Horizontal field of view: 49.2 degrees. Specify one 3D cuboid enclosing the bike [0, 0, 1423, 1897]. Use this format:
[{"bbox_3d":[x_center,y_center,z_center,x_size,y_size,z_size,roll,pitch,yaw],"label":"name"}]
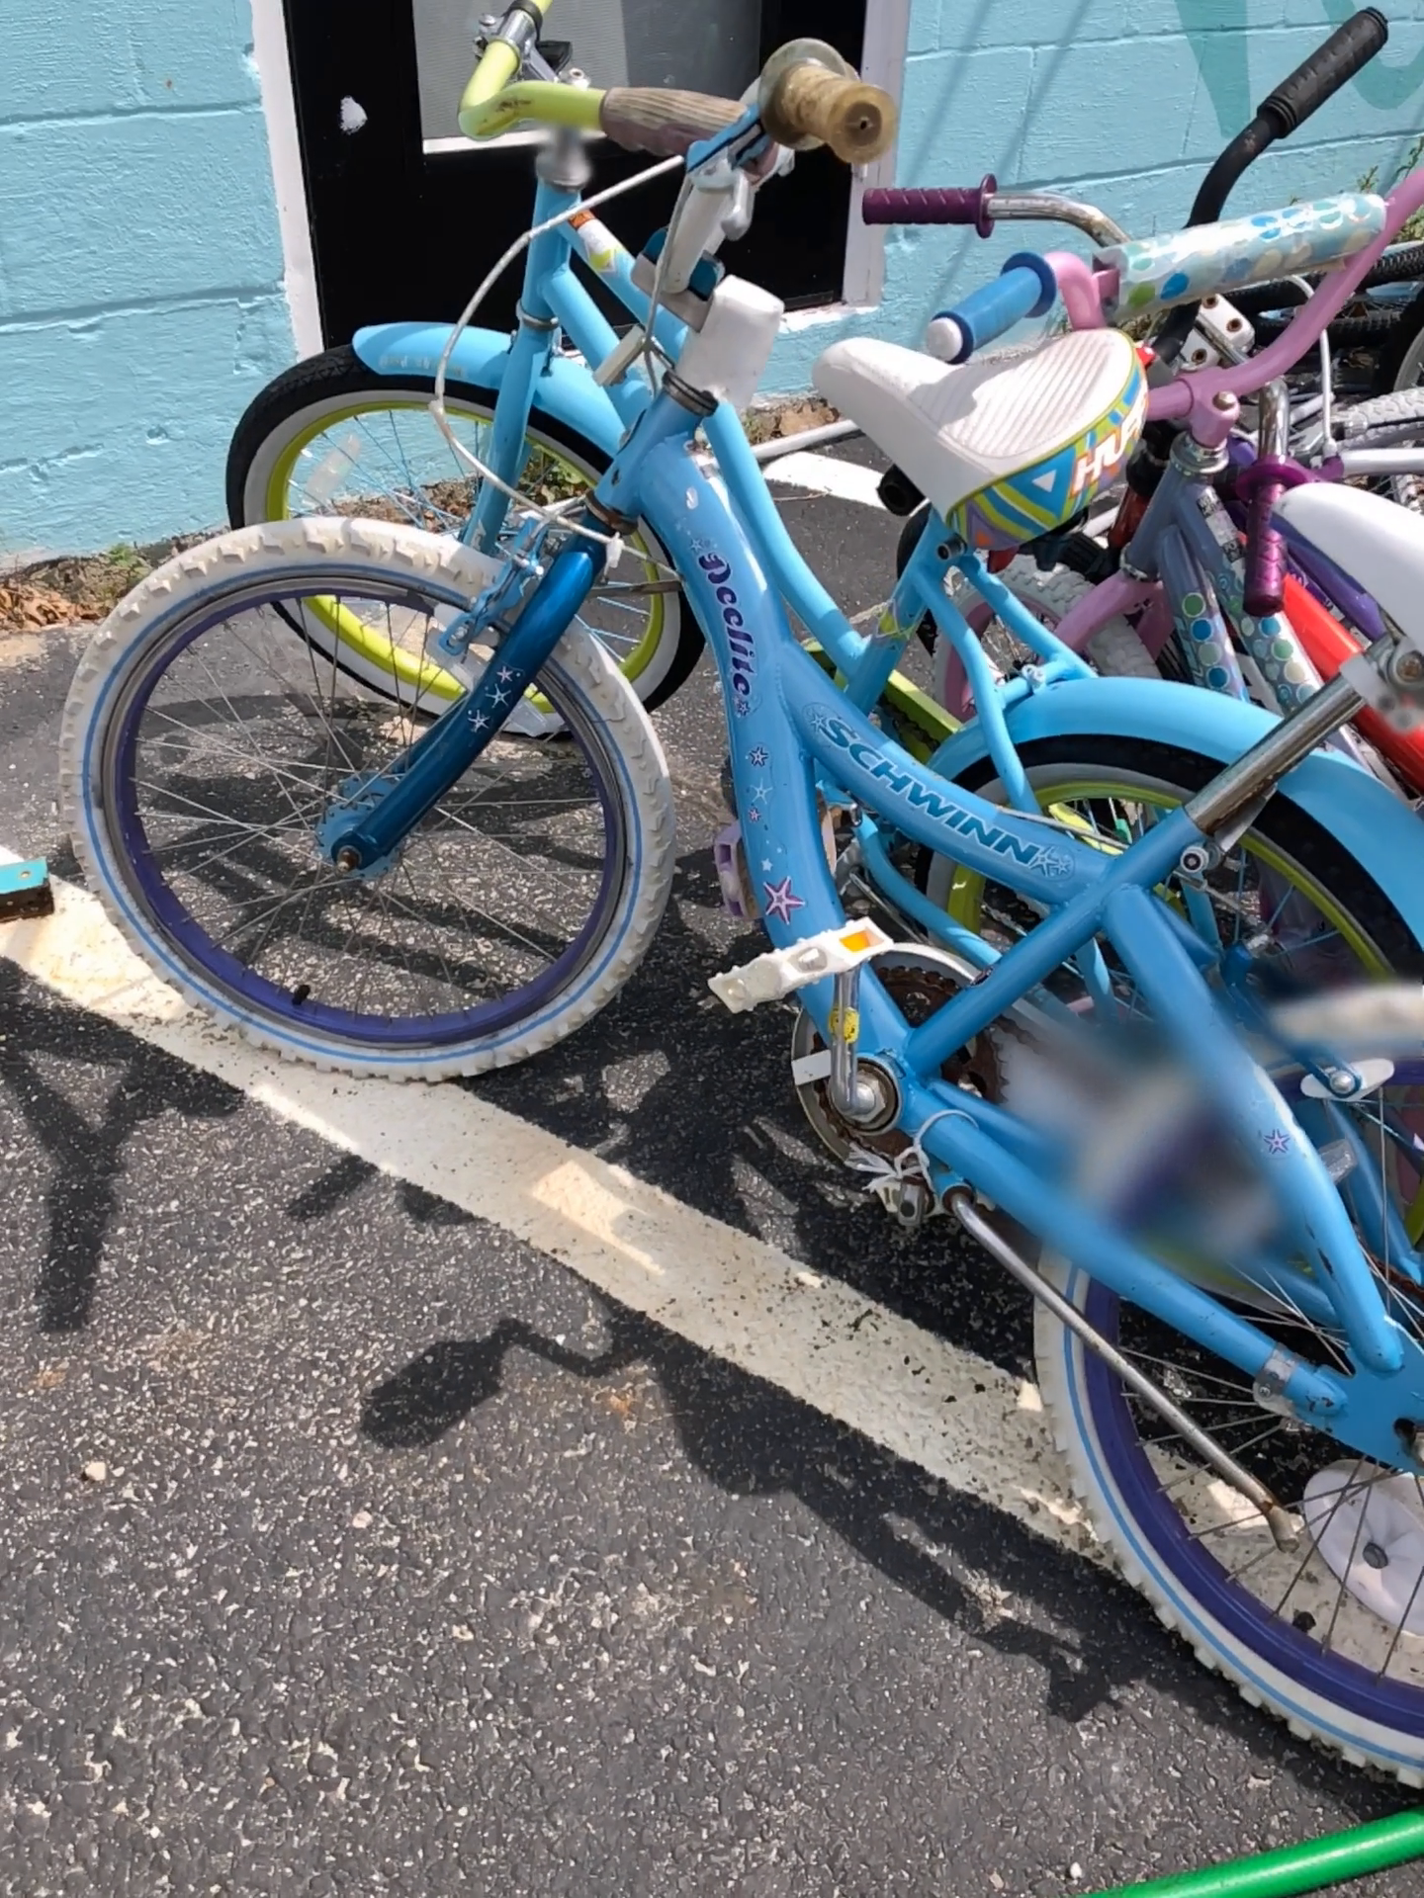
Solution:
[{"bbox_3d":[0.170,-0.173,0.946,1.267,0.777,0.558,27,44,20],"label":"bike"}]
